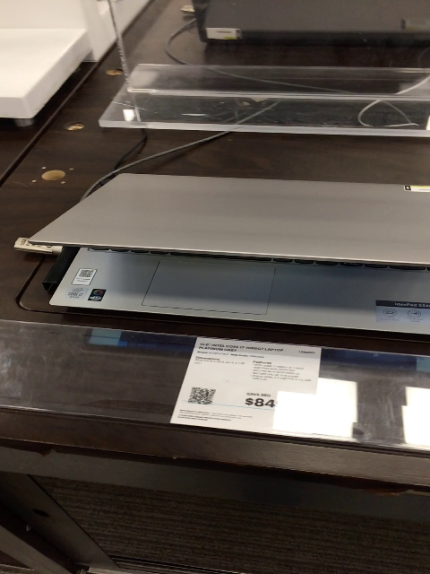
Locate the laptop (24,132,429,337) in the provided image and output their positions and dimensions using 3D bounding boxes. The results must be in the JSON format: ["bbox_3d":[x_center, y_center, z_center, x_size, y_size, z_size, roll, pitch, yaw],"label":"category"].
[{"bbox_3d":[0.036,-0.068,0.576,0.374,0.074,0.215,5,47,12],"label":"laptop"}]
